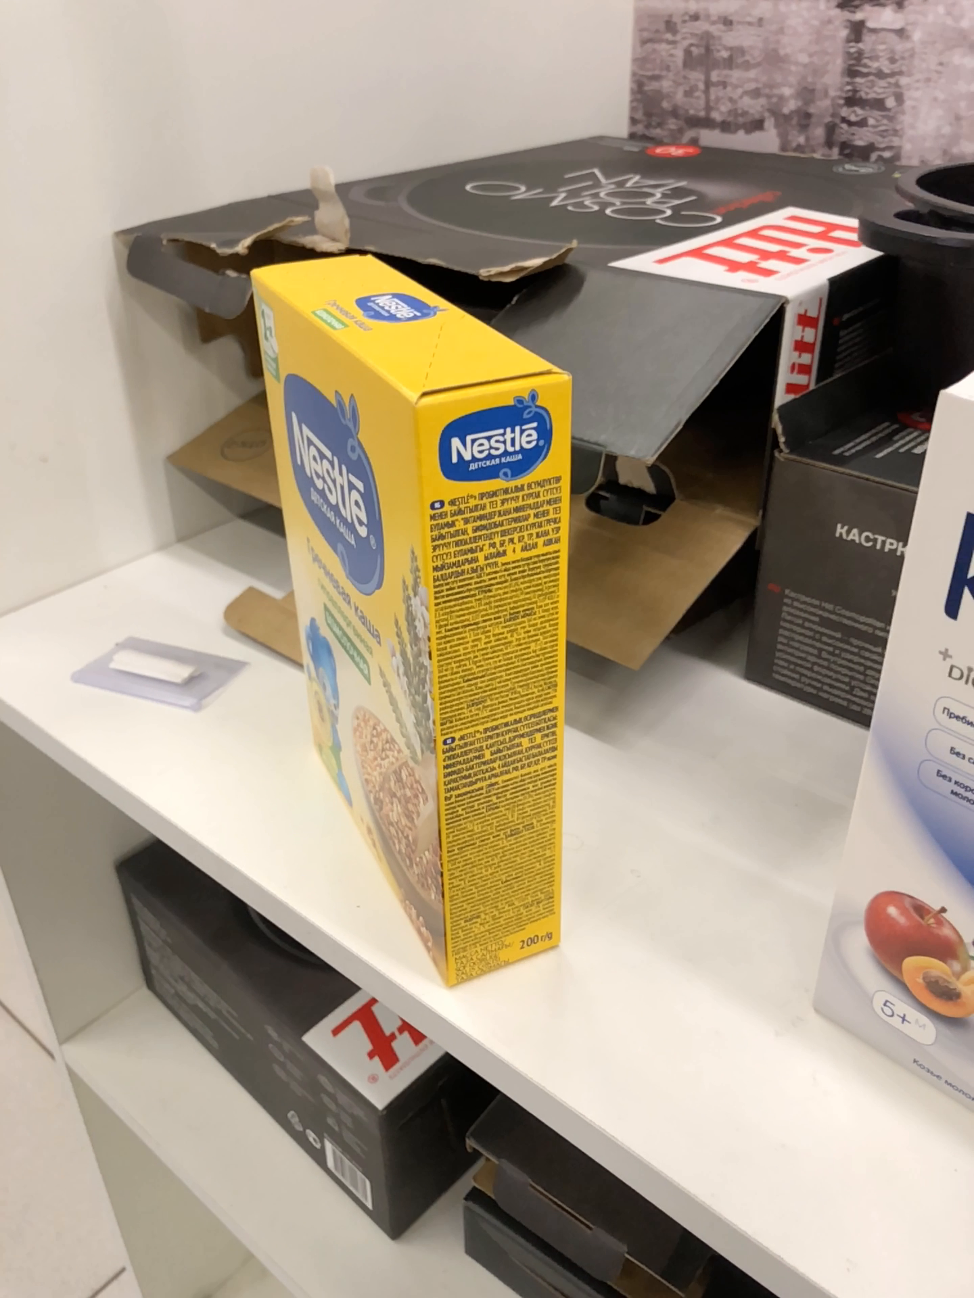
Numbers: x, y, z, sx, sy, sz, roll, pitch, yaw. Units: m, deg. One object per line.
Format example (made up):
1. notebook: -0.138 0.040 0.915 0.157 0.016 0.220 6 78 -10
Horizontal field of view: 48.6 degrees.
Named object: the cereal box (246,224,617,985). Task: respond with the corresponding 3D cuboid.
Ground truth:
1. cereal box: -0.023 -0.020 0.356 0.050 0.199 0.151 -14 34 -21
